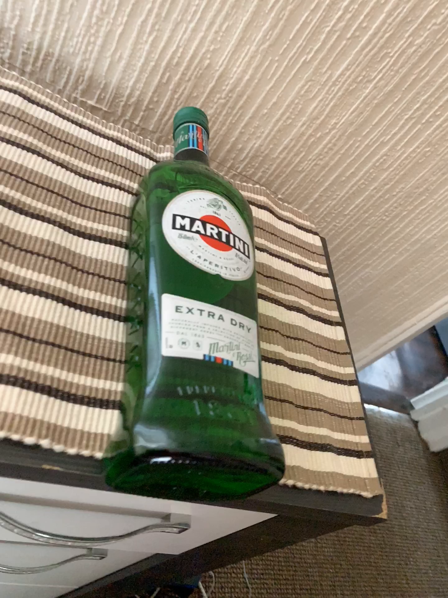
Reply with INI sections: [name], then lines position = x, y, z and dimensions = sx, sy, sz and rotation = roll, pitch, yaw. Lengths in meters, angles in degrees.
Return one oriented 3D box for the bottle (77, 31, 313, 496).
[bottle]
position = -0.018, -0.049, 0.312
dimensions = 0.090, 0.069, 0.323
rotation = 19, 50, -26
